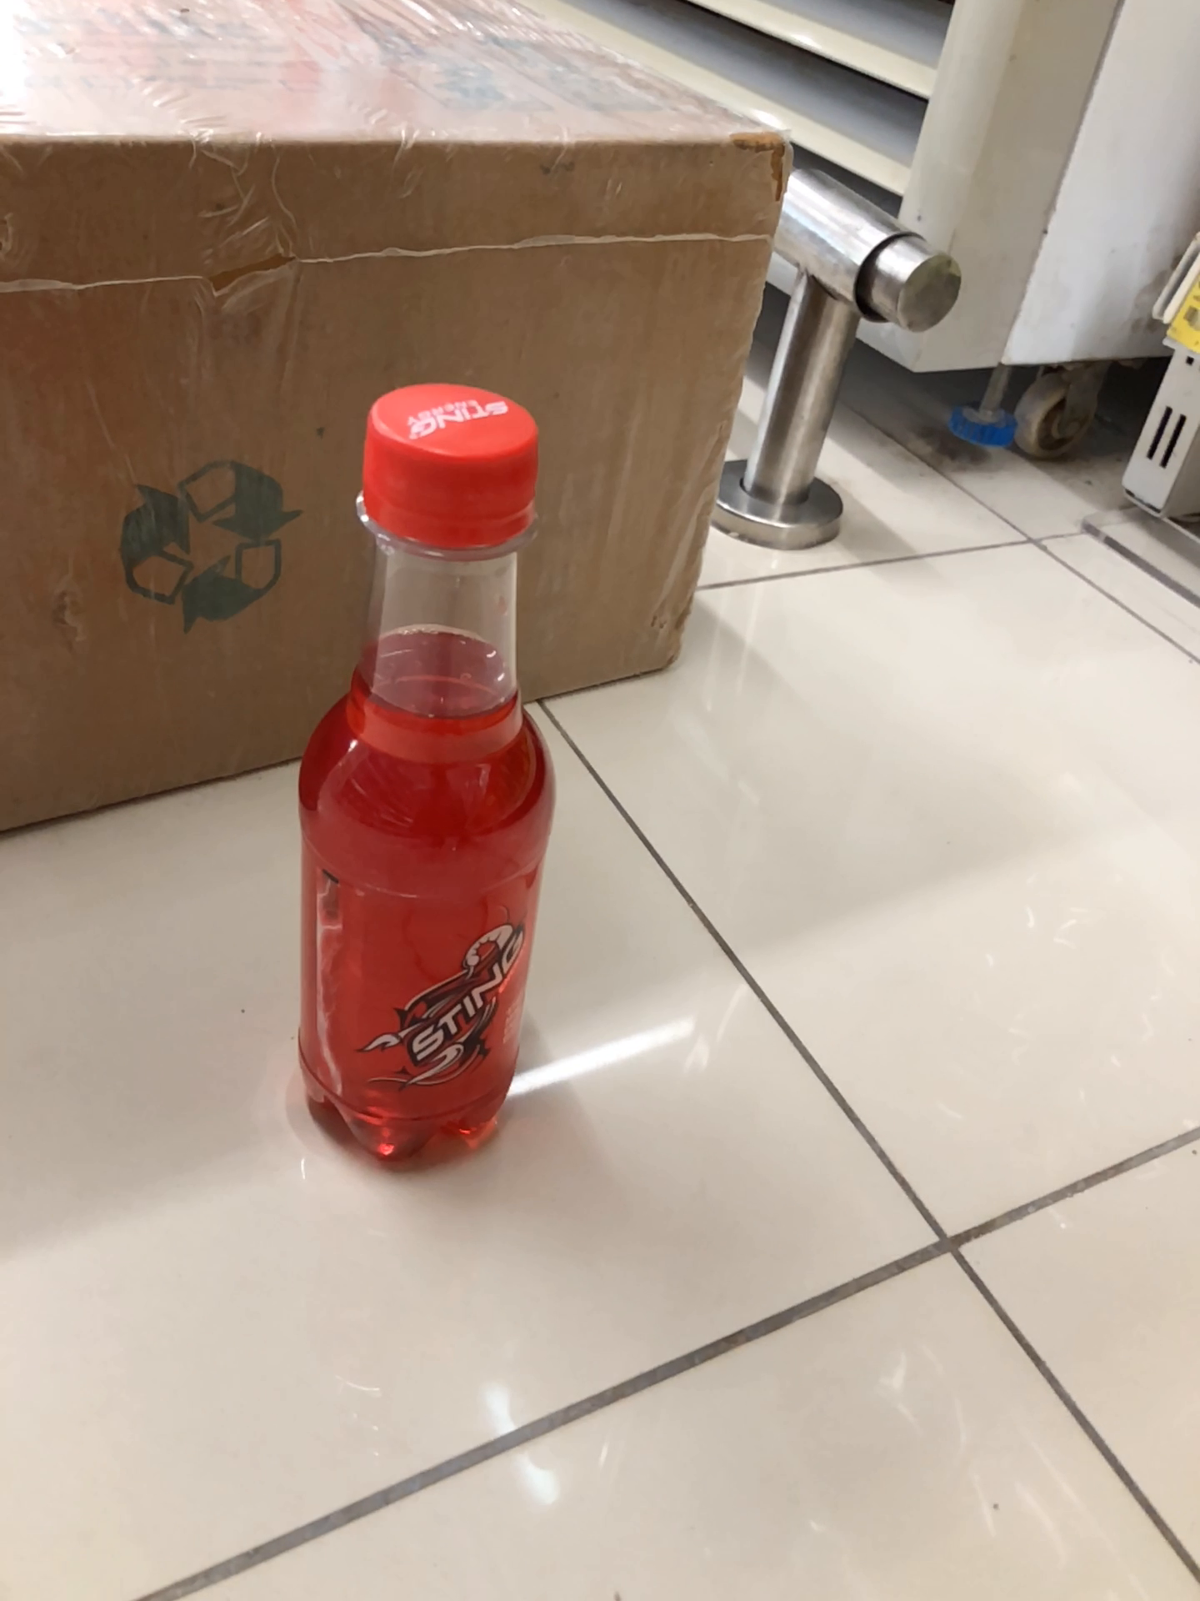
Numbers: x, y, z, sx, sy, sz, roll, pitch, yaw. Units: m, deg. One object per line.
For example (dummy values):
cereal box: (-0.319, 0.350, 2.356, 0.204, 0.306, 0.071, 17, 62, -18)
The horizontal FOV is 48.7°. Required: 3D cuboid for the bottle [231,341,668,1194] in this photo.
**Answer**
bottle: (-0.041, -0.001, 0.294, 0.060, 0.179, 0.060, 6, 37, -5)
